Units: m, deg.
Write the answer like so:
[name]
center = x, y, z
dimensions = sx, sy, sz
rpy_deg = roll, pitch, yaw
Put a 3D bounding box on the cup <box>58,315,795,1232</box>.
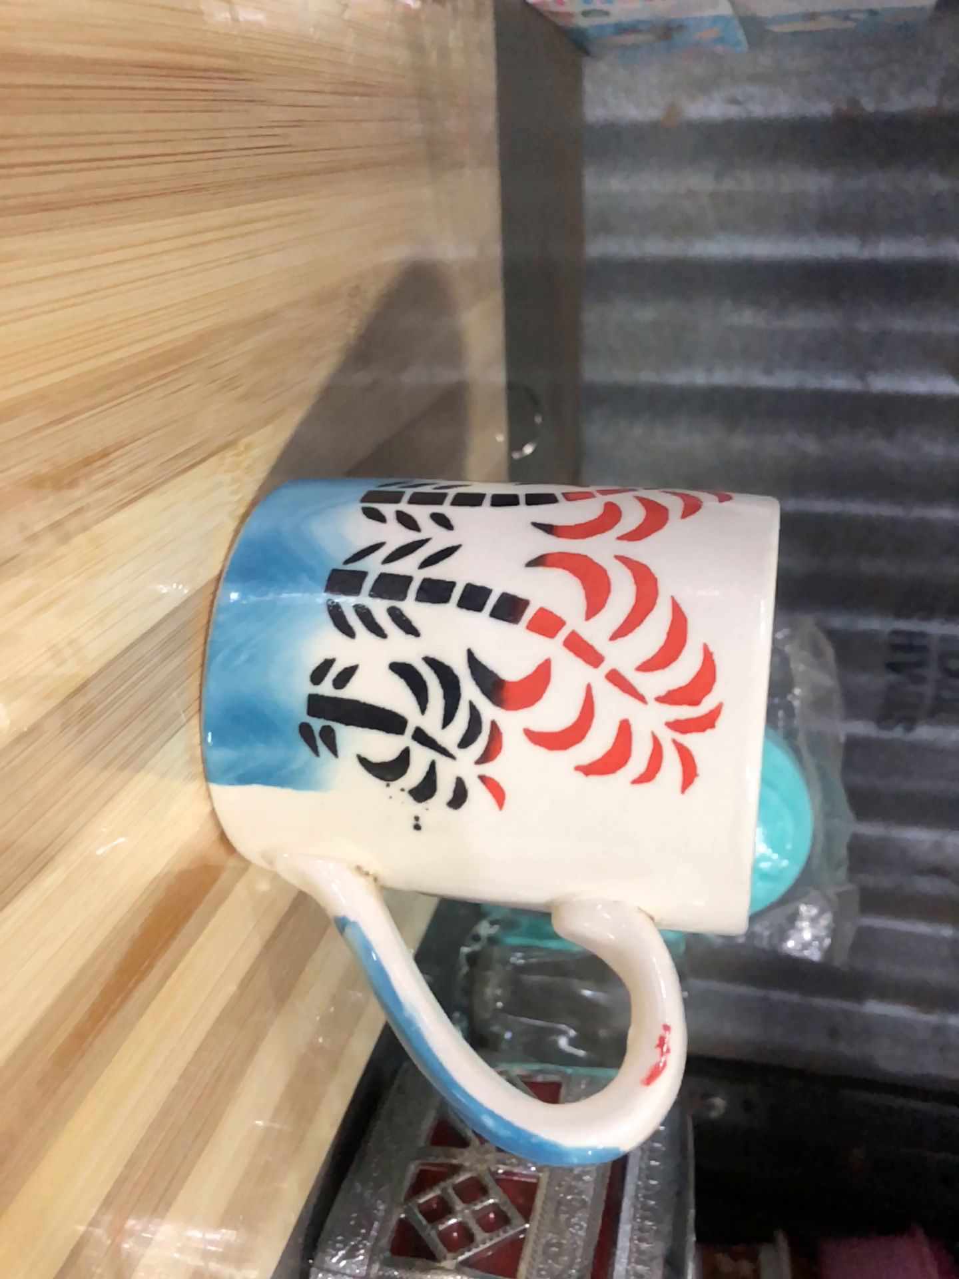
[cup]
center = 0.007, 0.025, 0.188
dimensions = 0.100, 0.080, 0.120
rpy_deg = 69, 28, -63
